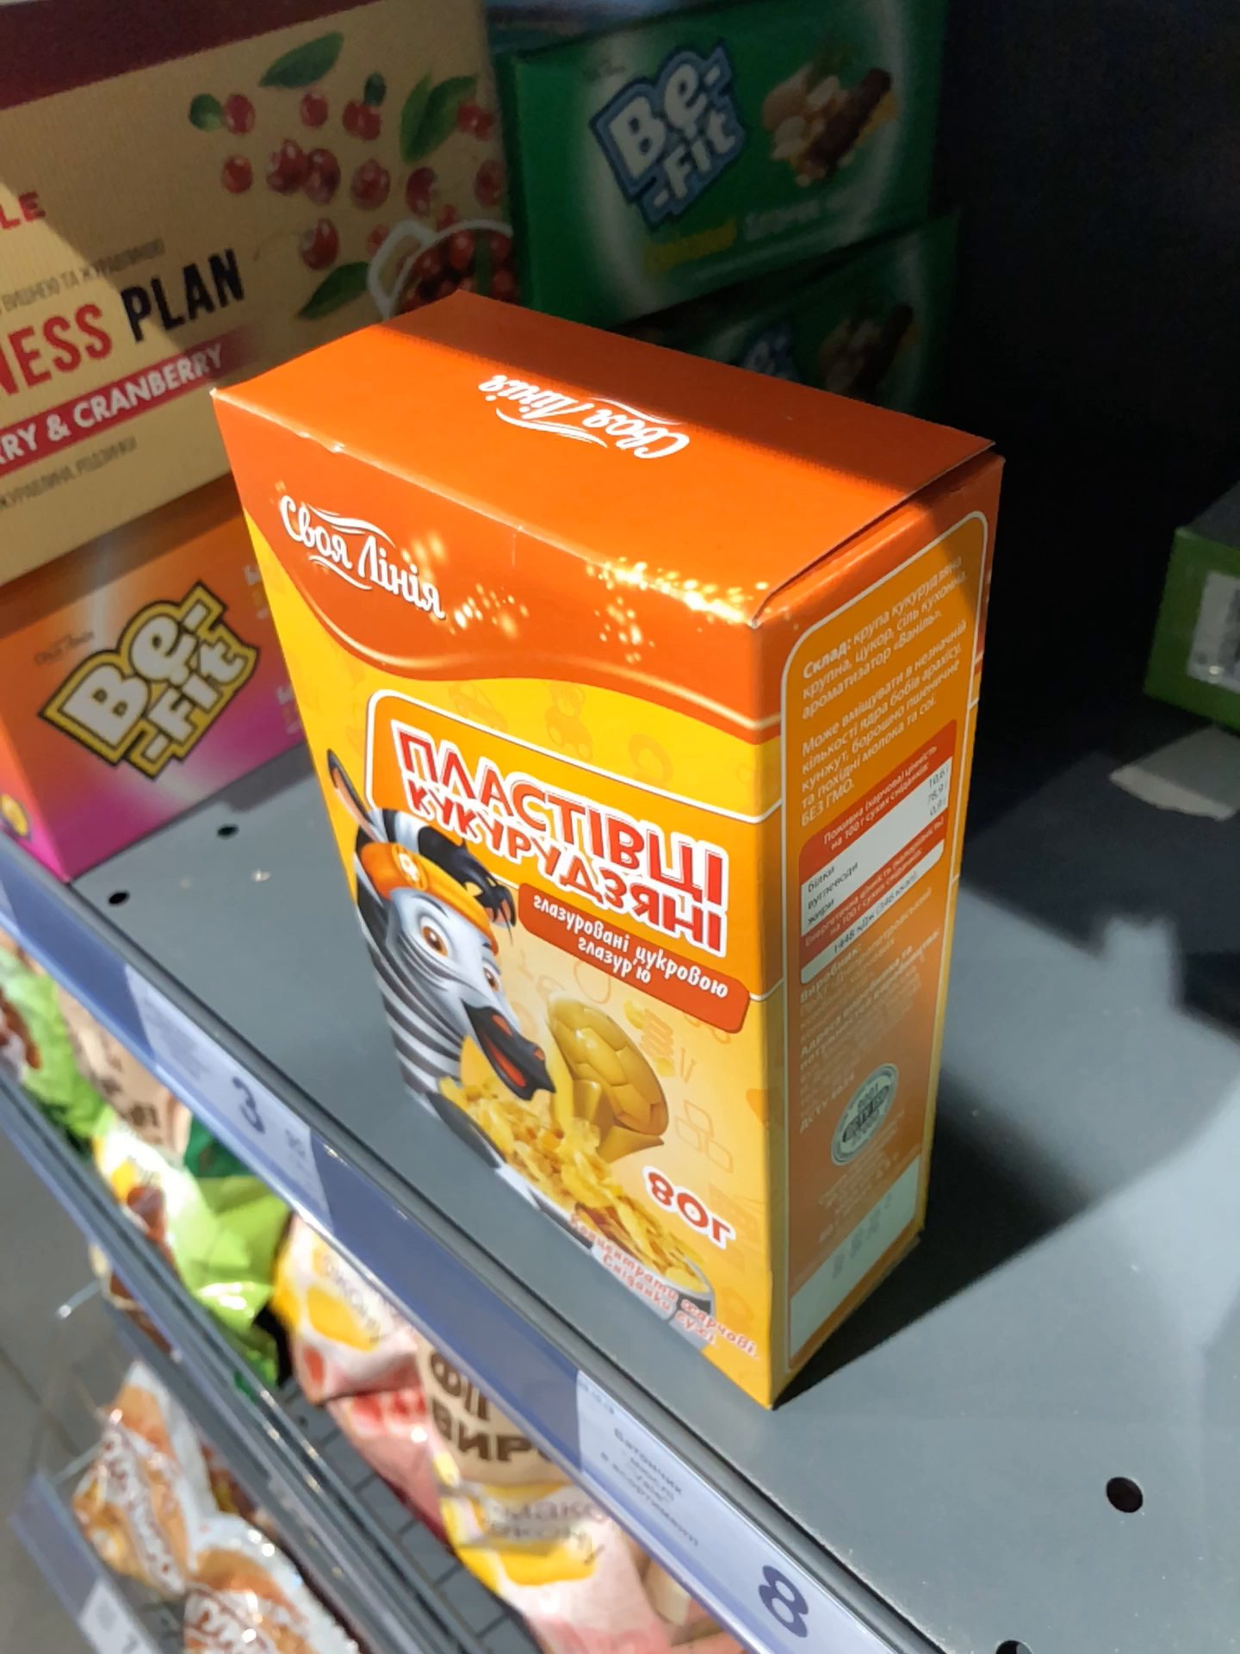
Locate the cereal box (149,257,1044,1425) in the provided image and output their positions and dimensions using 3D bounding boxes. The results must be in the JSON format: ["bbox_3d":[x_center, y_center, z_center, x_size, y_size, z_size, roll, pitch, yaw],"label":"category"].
[{"bbox_3d":[-0.004,0.004,0.234,0.050,0.159,0.120,-34,47,-29],"label":"cereal box"}]
